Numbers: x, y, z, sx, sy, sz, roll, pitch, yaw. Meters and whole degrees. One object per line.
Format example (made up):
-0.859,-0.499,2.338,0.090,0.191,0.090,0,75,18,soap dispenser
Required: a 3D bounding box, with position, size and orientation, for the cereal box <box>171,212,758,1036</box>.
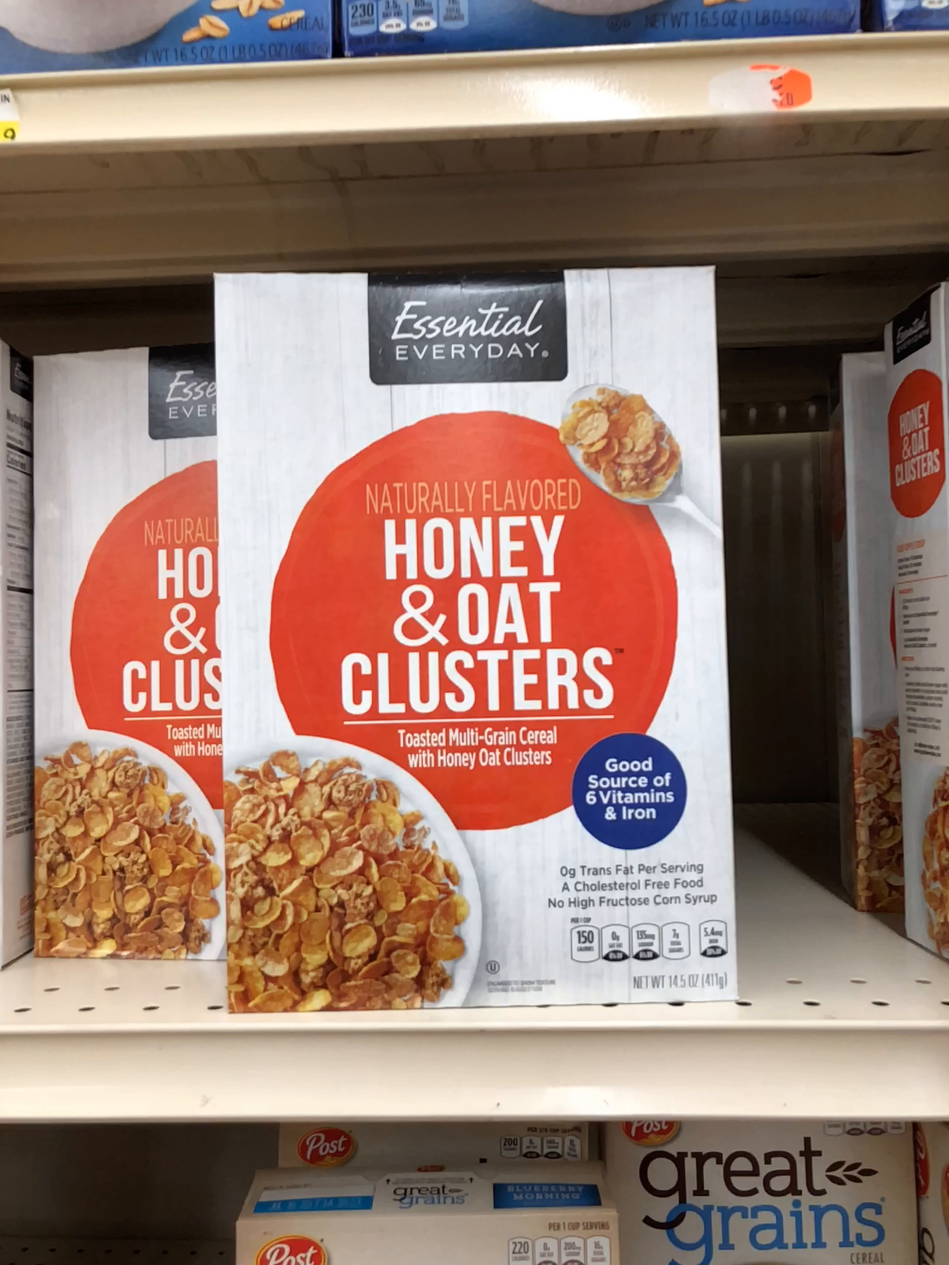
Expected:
-0.005,-0.003,0.425,0.210,0.300,0.070,-2,-1,1,cereal box
